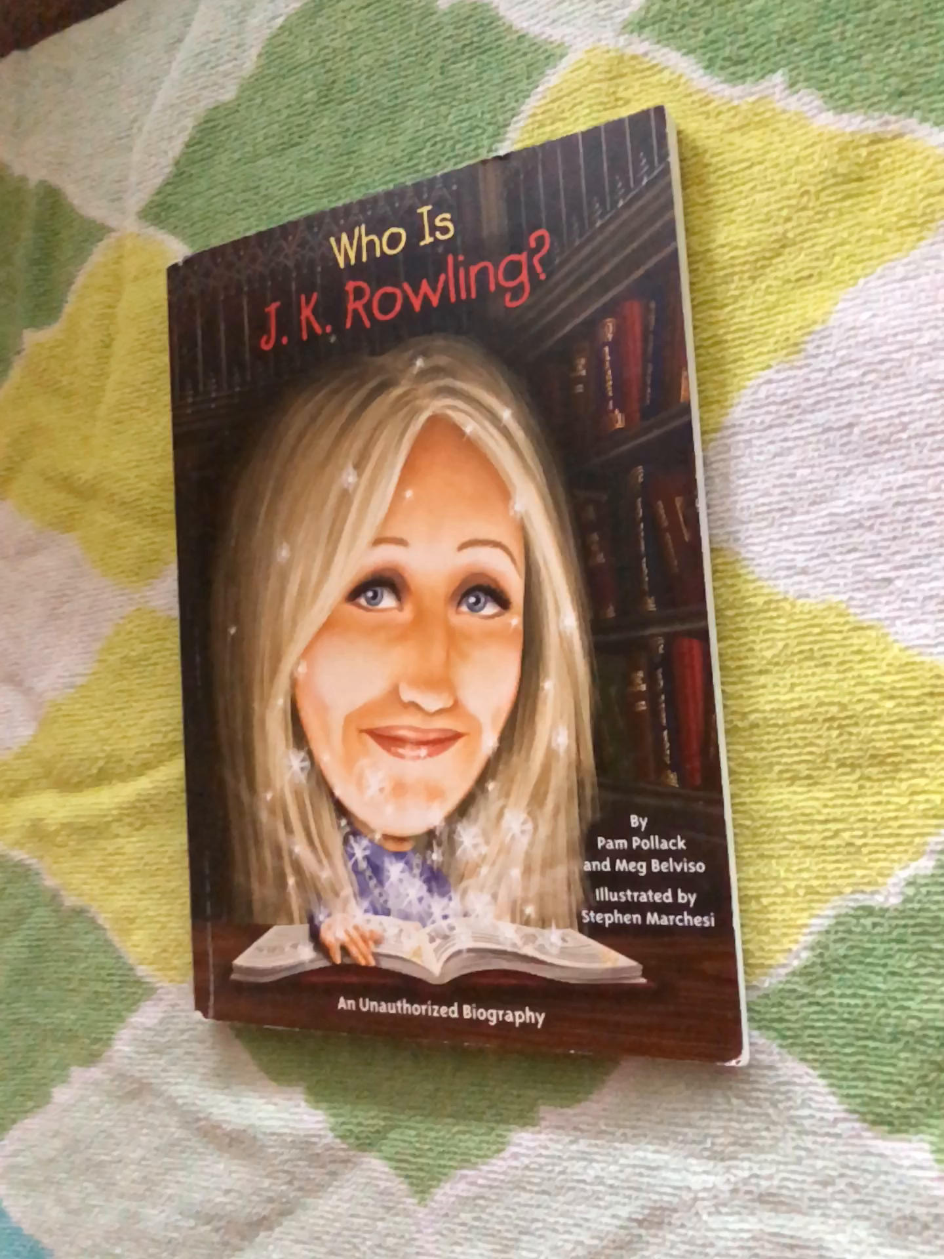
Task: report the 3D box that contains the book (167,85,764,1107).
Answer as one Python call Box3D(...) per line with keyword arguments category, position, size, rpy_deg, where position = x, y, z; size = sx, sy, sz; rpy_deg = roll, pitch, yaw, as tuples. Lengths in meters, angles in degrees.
Box3D(category="book", position=(-0.010, -0.004, 0.223), size=(0.126, 0.012, 0.187), rpy_deg=(-6, 84, 27))
